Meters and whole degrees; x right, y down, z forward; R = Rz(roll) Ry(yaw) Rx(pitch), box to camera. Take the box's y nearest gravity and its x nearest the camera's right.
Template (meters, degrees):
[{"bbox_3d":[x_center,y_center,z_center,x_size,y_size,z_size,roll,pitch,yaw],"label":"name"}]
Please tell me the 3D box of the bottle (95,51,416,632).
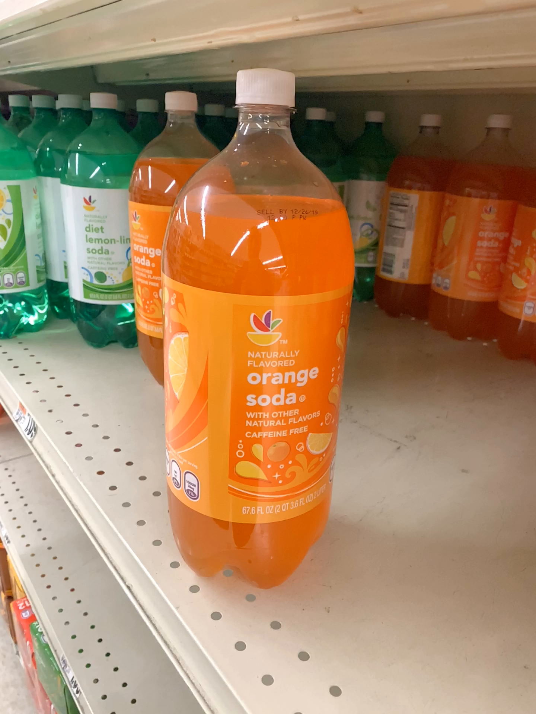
[{"bbox_3d":[-0.004,-0.008,0.324,0.120,0.289,0.110,2,23,-1],"label":"bottle"}]
